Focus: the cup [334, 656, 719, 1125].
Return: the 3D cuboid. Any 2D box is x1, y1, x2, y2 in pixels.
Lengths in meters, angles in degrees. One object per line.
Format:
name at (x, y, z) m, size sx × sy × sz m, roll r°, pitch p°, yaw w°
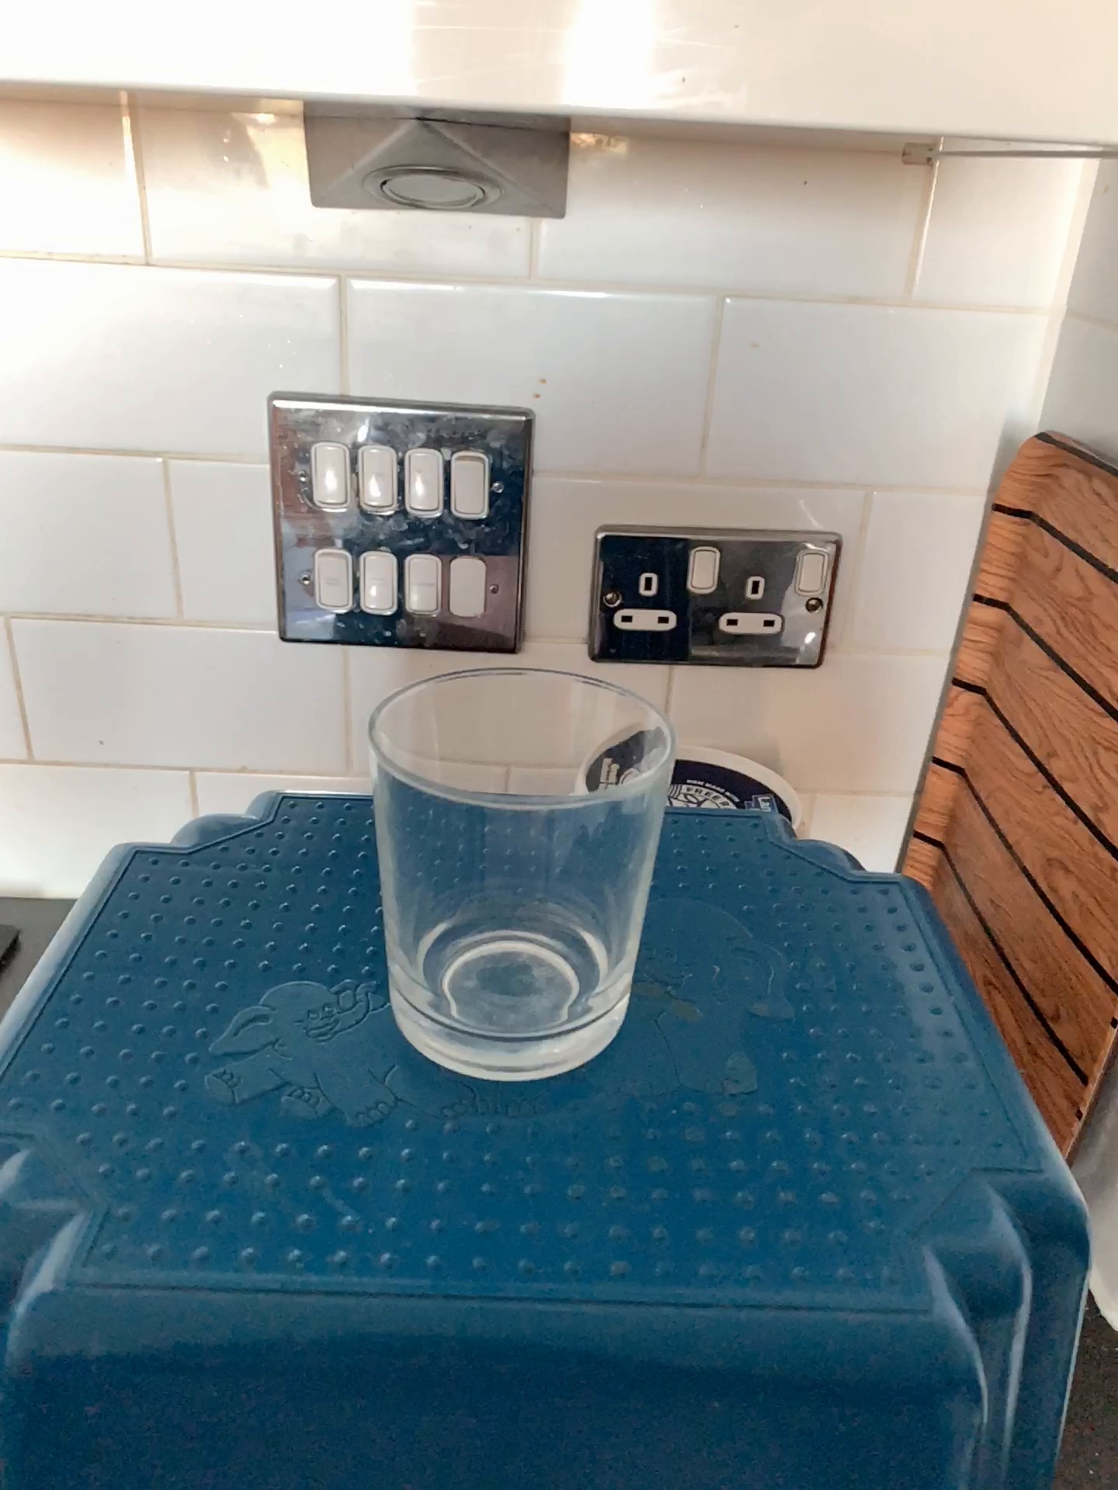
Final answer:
cup at (-0.008, 0.034, 0.304) m, size 0.076 × 0.084 × 0.067 m, roll 12°, pitch 28°, yaw 16°
